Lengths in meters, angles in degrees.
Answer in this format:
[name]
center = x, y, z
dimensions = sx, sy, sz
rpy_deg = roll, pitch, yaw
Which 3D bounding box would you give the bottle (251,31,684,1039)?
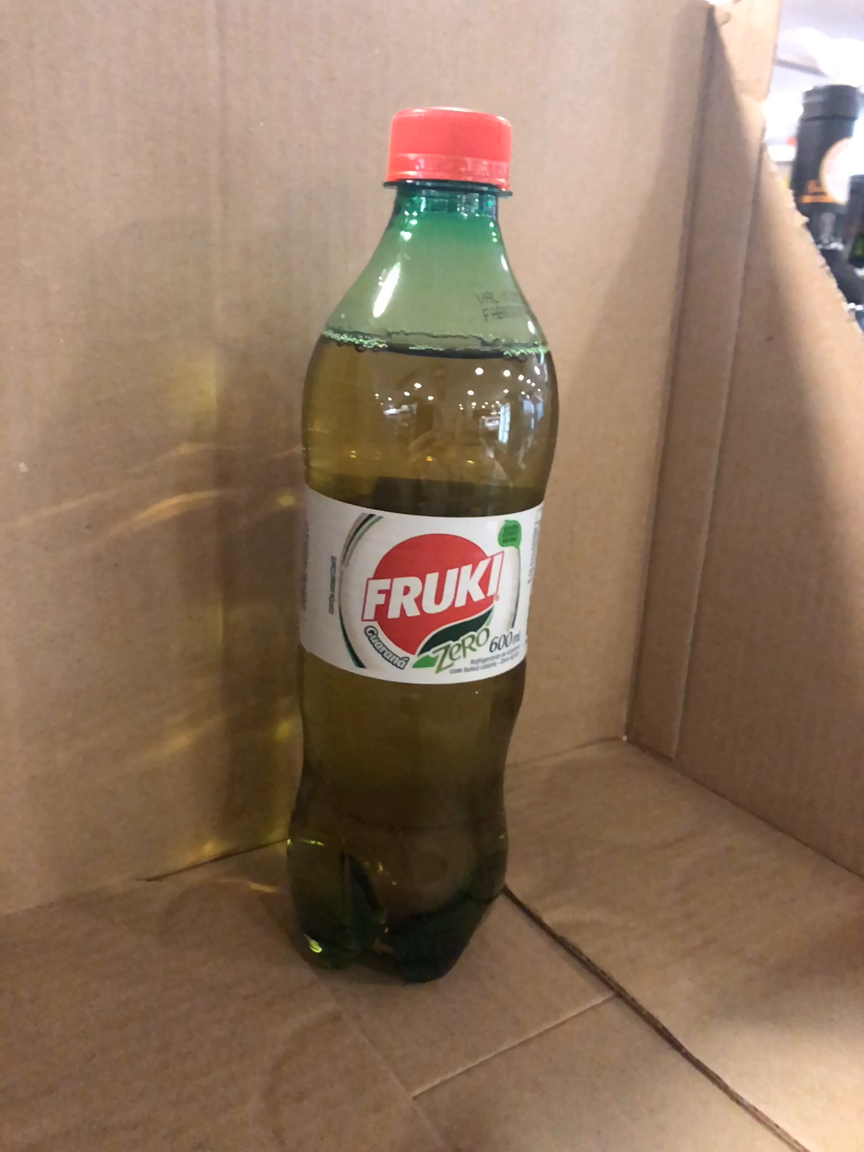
[bottle]
center = -0.003, -0.006, 0.270
dimensions = 0.080, 0.239, 0.080
rpy_deg = 4, 17, -1
